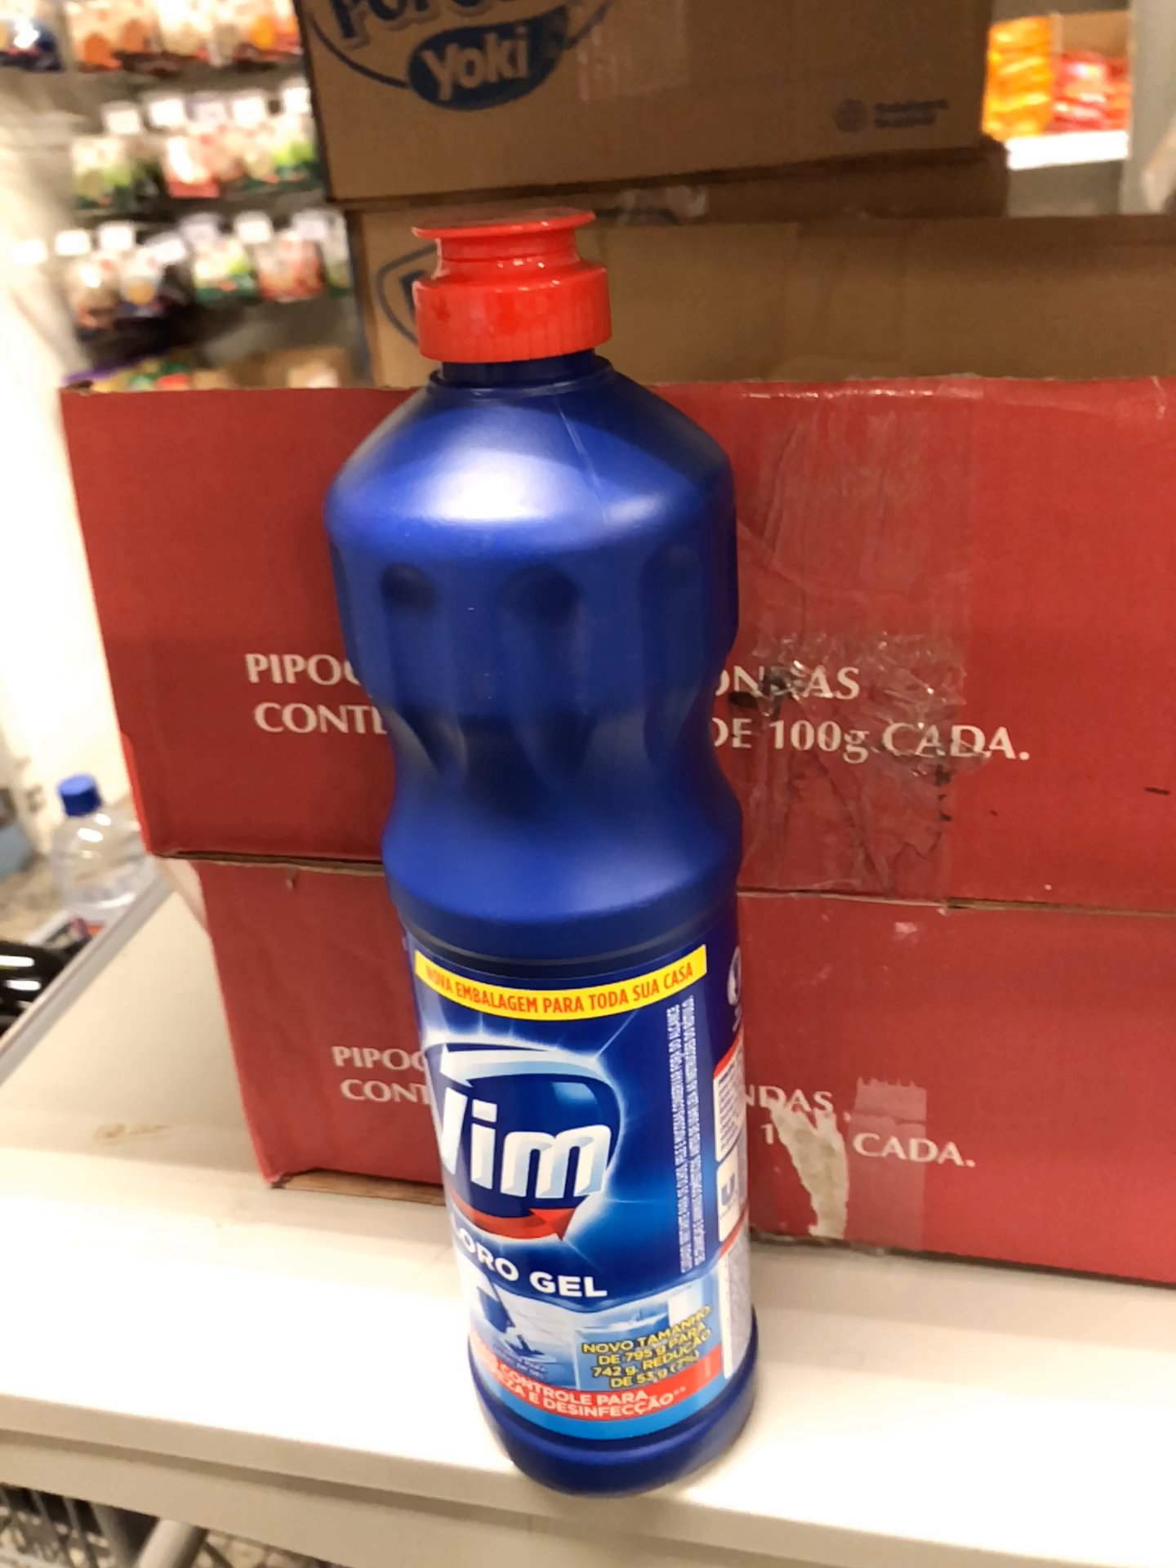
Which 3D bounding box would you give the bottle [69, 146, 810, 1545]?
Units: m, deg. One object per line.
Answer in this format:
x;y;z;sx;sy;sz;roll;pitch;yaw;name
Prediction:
-0.010;0.021;0.230;0.070;0.228;0.060;9;31;29;bottle
